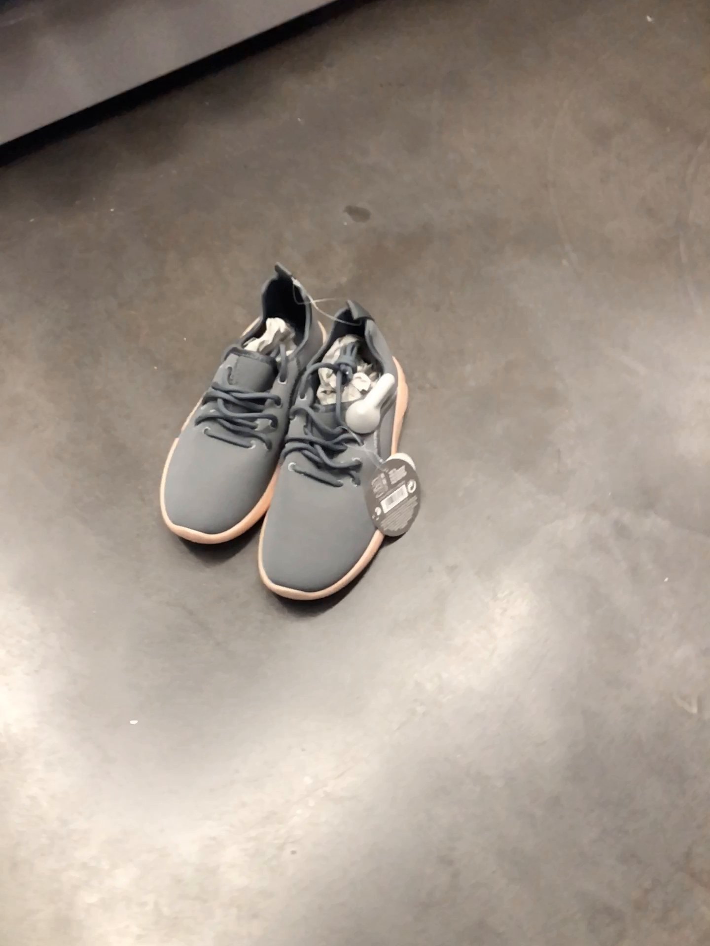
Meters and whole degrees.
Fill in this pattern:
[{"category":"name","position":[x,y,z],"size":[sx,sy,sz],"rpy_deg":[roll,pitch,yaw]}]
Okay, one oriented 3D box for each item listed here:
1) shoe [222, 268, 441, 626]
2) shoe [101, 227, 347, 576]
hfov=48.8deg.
[{"category":"shoe","position":[-0.010,-0.025,0.584],"size":[0.090,0.100,0.241],"rpy_deg":[14,58,6]},{"category":"shoe","position":[-0.085,-0.060,0.595],"size":[0.090,0.100,0.241],"rpy_deg":[15,58,7]}]
